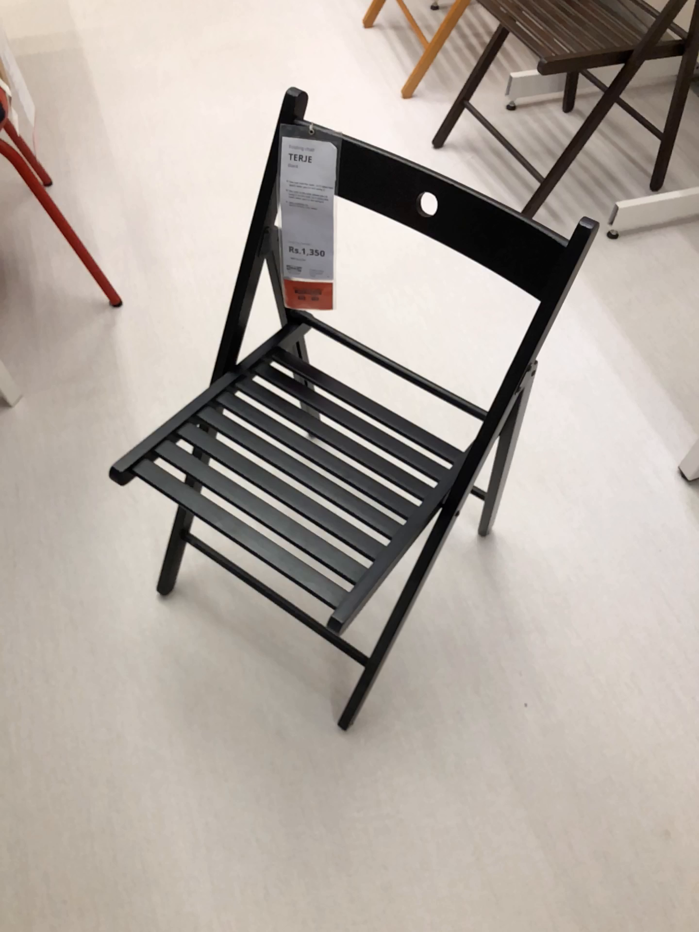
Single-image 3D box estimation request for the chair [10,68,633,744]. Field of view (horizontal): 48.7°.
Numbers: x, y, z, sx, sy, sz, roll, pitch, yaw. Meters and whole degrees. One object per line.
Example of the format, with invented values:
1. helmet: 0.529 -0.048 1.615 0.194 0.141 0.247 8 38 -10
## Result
1. chair: -0.023 -0.030 1.097 0.441 0.726 0.482 32 61 17
